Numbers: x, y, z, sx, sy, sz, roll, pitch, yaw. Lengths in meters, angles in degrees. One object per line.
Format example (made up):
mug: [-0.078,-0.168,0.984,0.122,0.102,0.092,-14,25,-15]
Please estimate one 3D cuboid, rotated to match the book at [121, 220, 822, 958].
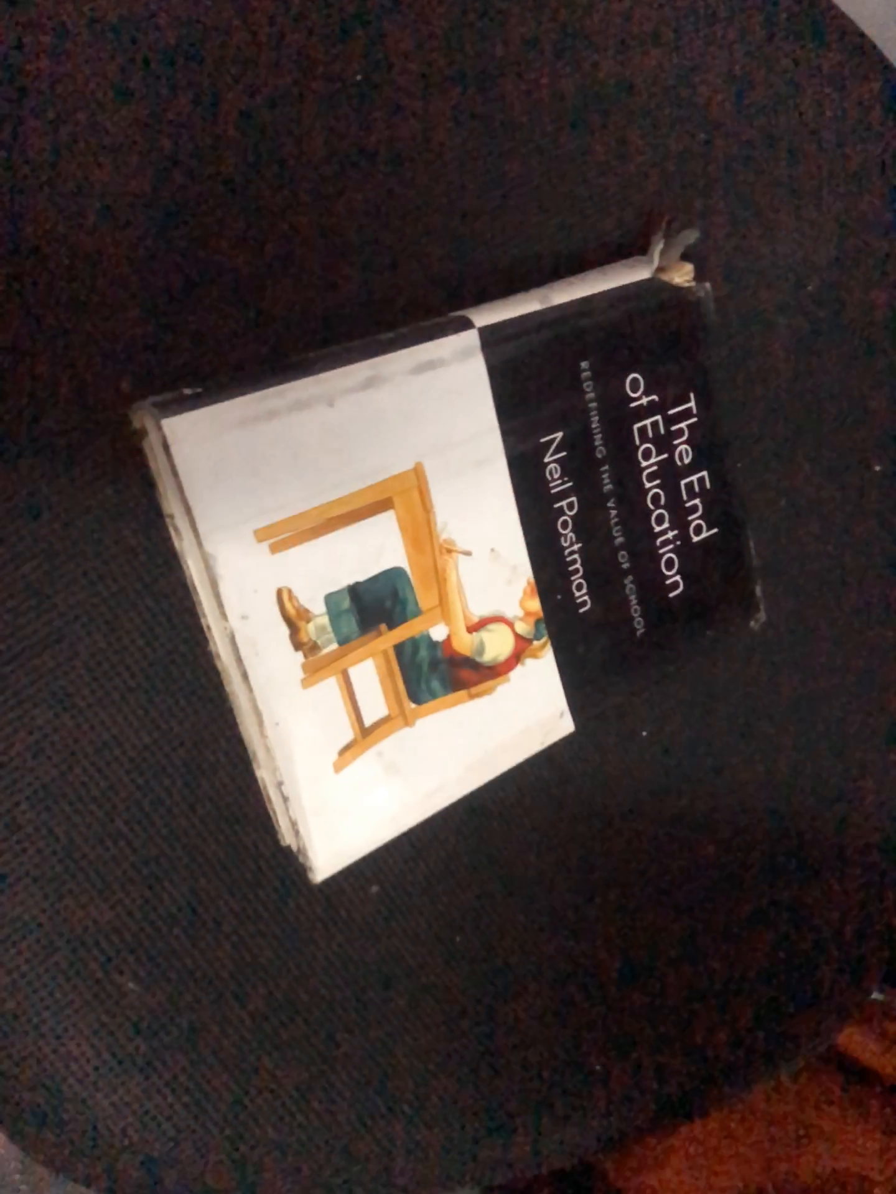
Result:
book: [0.036,-0.018,0.357,0.251,0.030,0.180,-25,110,-30]
